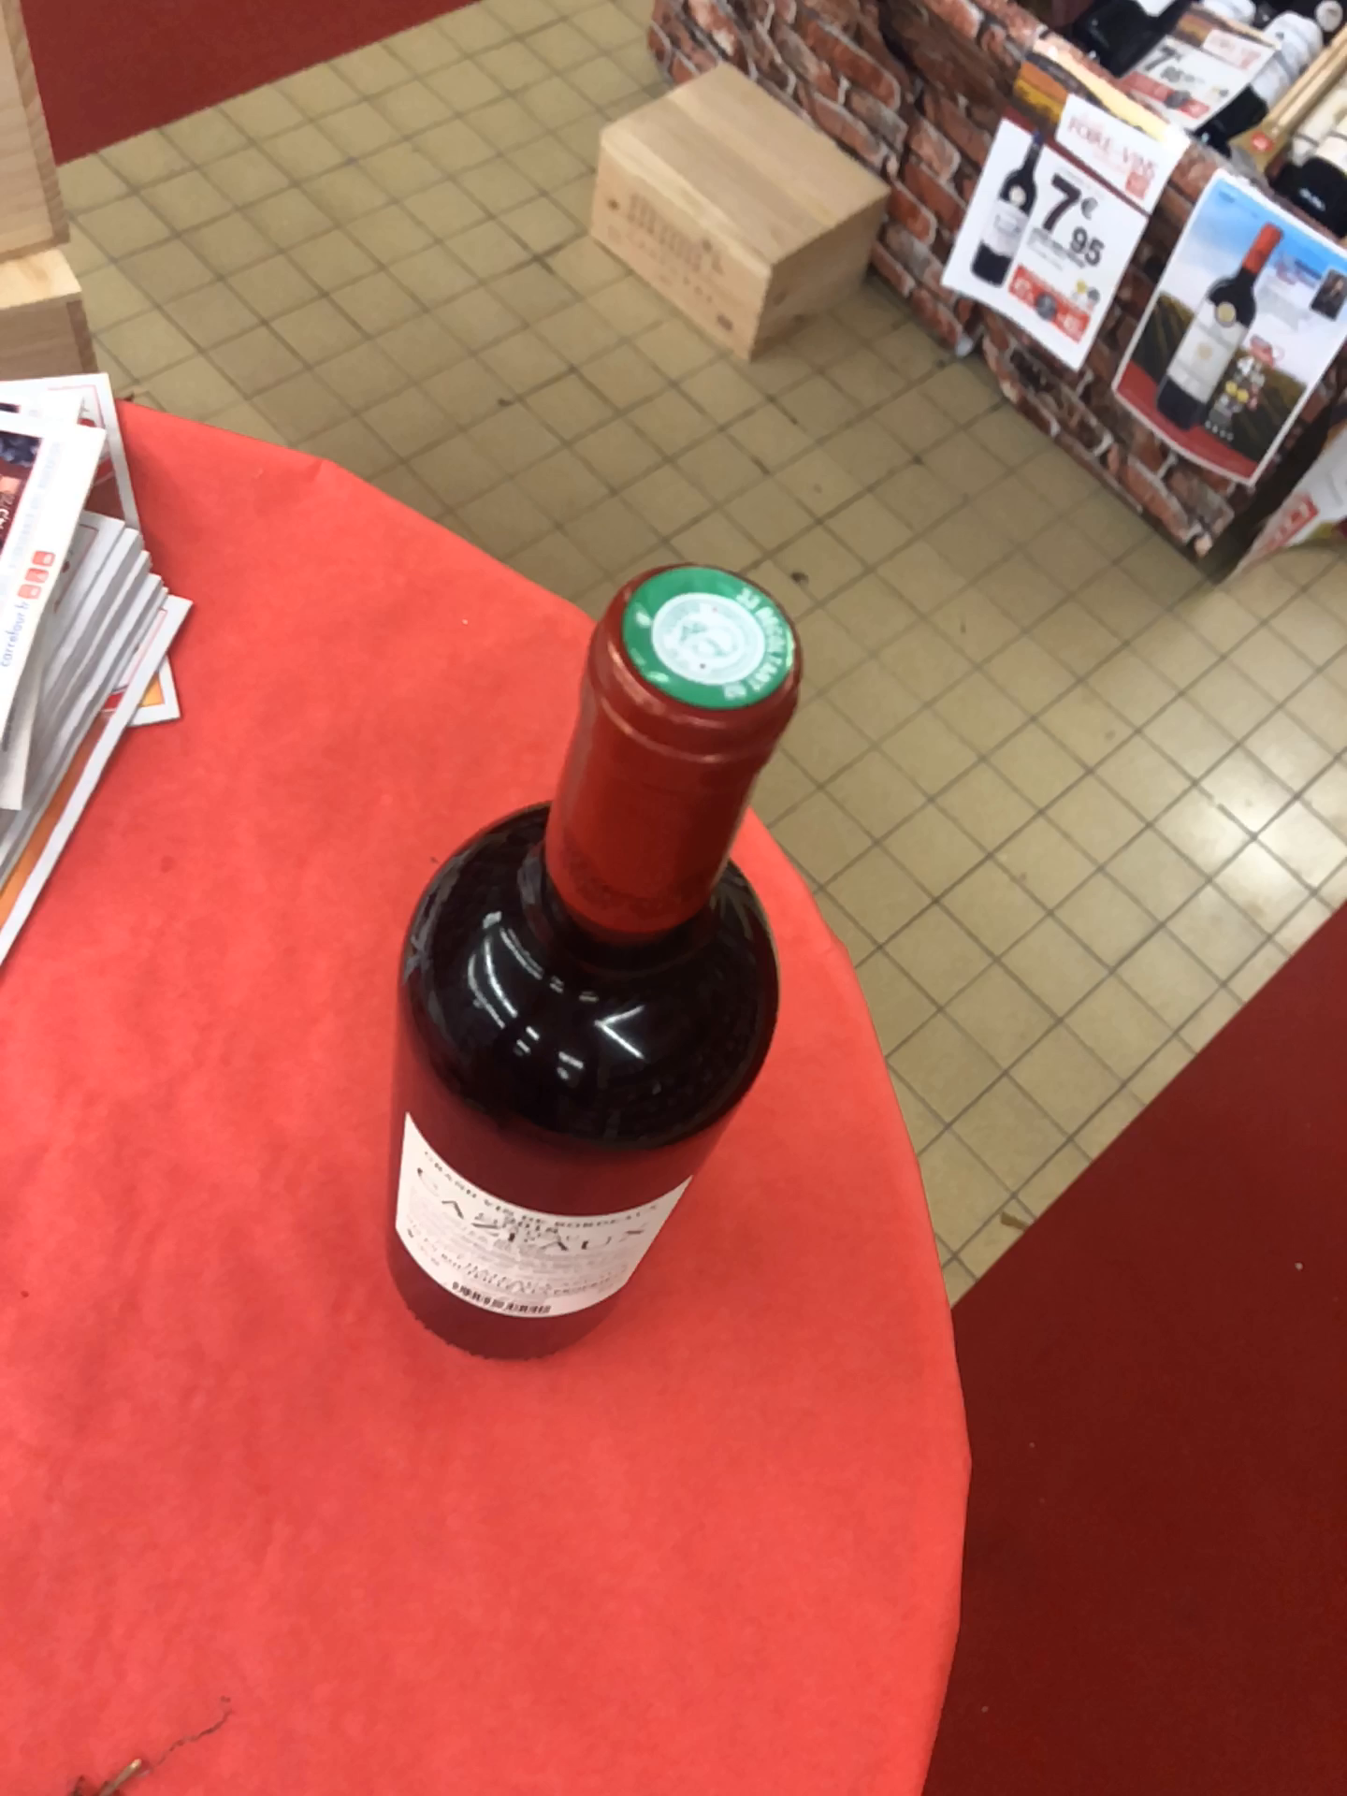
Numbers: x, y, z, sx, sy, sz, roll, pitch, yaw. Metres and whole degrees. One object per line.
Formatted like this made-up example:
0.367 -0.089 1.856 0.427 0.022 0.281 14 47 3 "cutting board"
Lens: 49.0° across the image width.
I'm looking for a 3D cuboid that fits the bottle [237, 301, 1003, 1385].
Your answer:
-0.025 0.030 0.317 0.080 0.299 0.080 4 63 -8 "bottle"
